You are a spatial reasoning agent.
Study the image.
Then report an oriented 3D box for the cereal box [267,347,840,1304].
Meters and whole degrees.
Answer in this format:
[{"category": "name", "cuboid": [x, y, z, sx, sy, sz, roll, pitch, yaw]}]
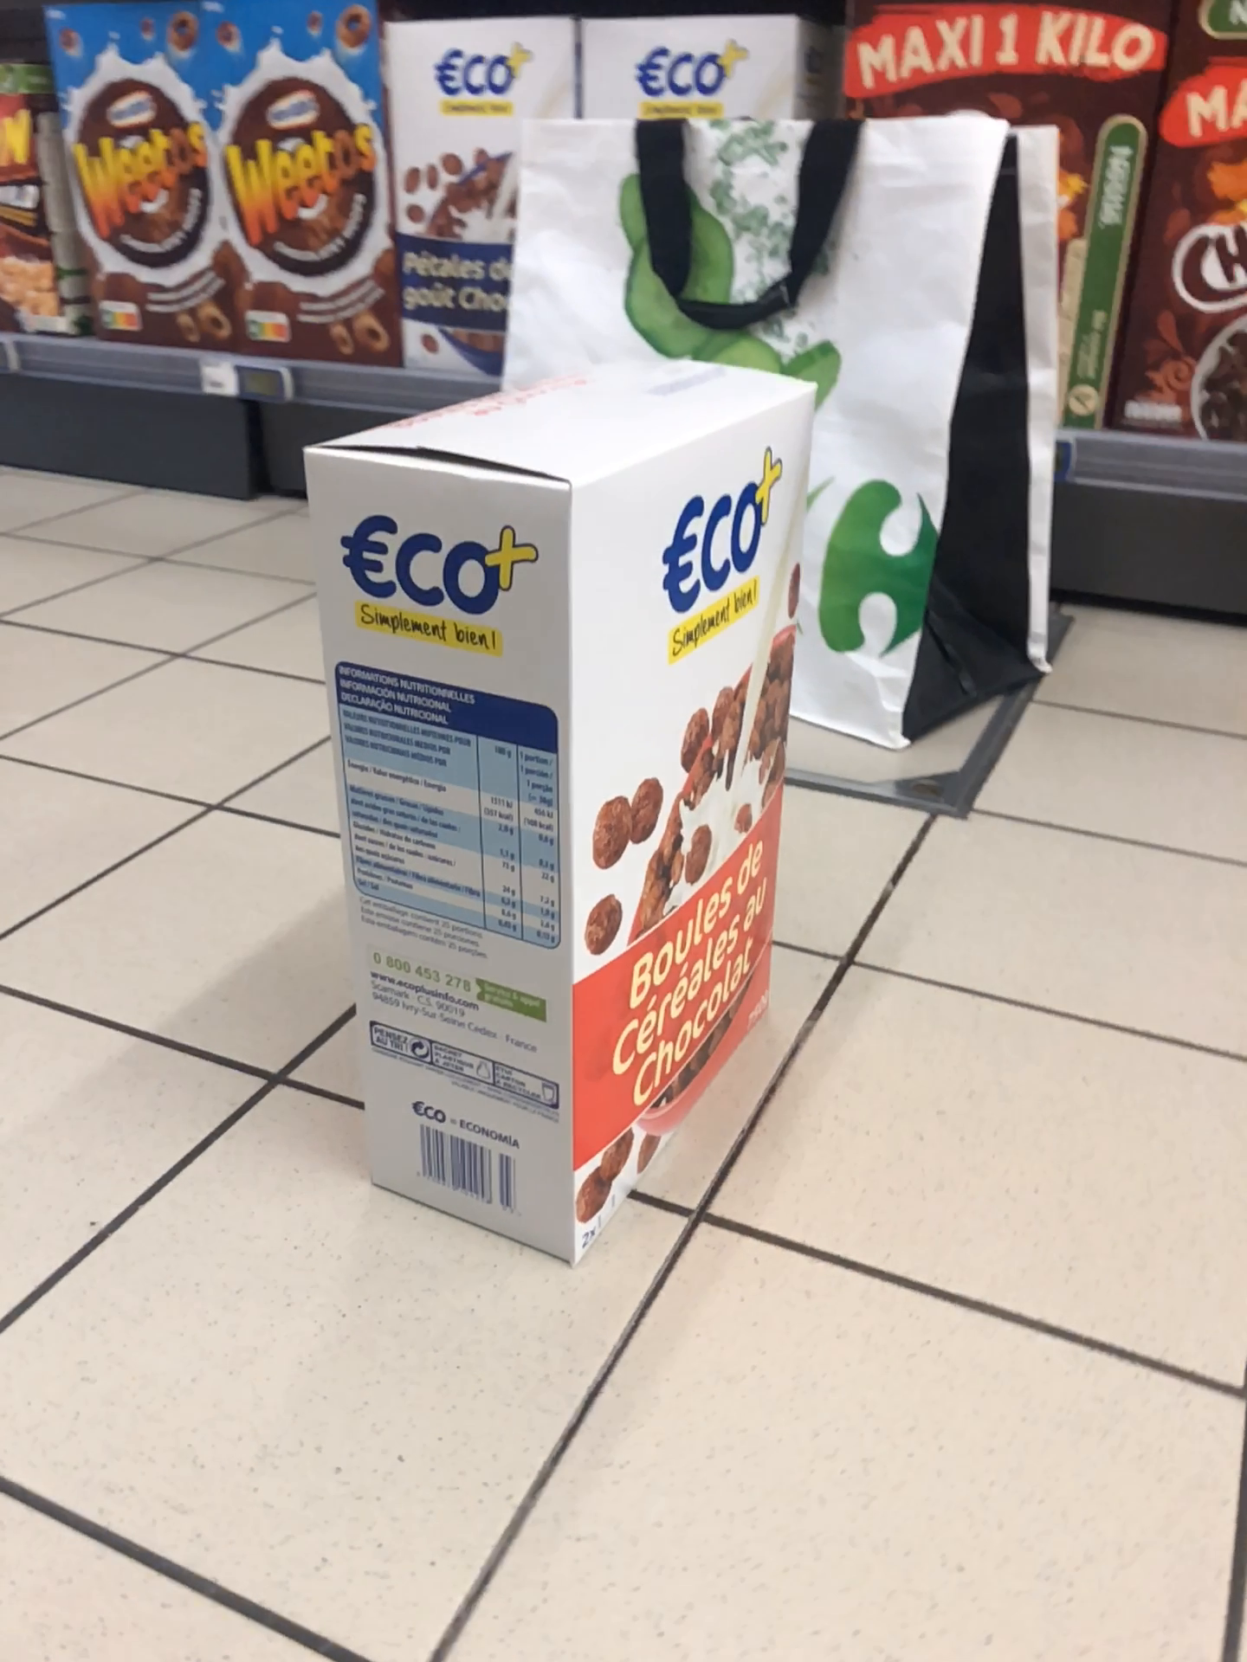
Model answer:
[{"category": "cereal box", "cuboid": [-0.012, -0.016, 0.533, 0.100, 0.298, 0.211, 14, 29, 25]}]
